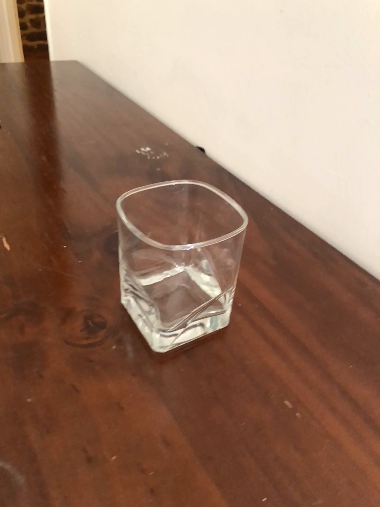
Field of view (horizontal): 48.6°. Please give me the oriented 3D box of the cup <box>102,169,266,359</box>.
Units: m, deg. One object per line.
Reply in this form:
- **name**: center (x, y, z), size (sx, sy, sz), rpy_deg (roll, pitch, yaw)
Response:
- **cup**: center (-0.010, 0.003, 0.293), size (0.076, 0.087, 0.078), rpy_deg (5, 36, -3)
